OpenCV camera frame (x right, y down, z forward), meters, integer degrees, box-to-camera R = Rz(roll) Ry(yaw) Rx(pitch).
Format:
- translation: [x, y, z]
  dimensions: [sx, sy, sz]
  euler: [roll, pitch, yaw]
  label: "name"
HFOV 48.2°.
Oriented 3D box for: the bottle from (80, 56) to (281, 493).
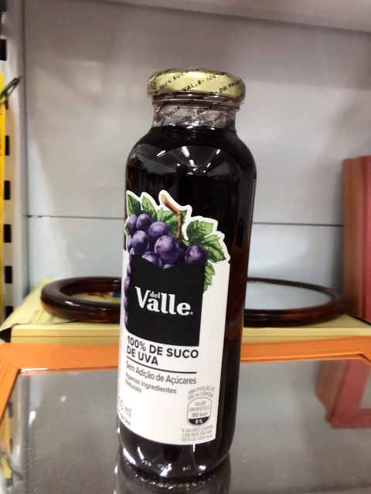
- translation: [-0.002, 0.017, 0.200]
  dimensions: [0.070, 0.189, 0.060]
  euler: [7, 11, 16]
  label: "bottle"
